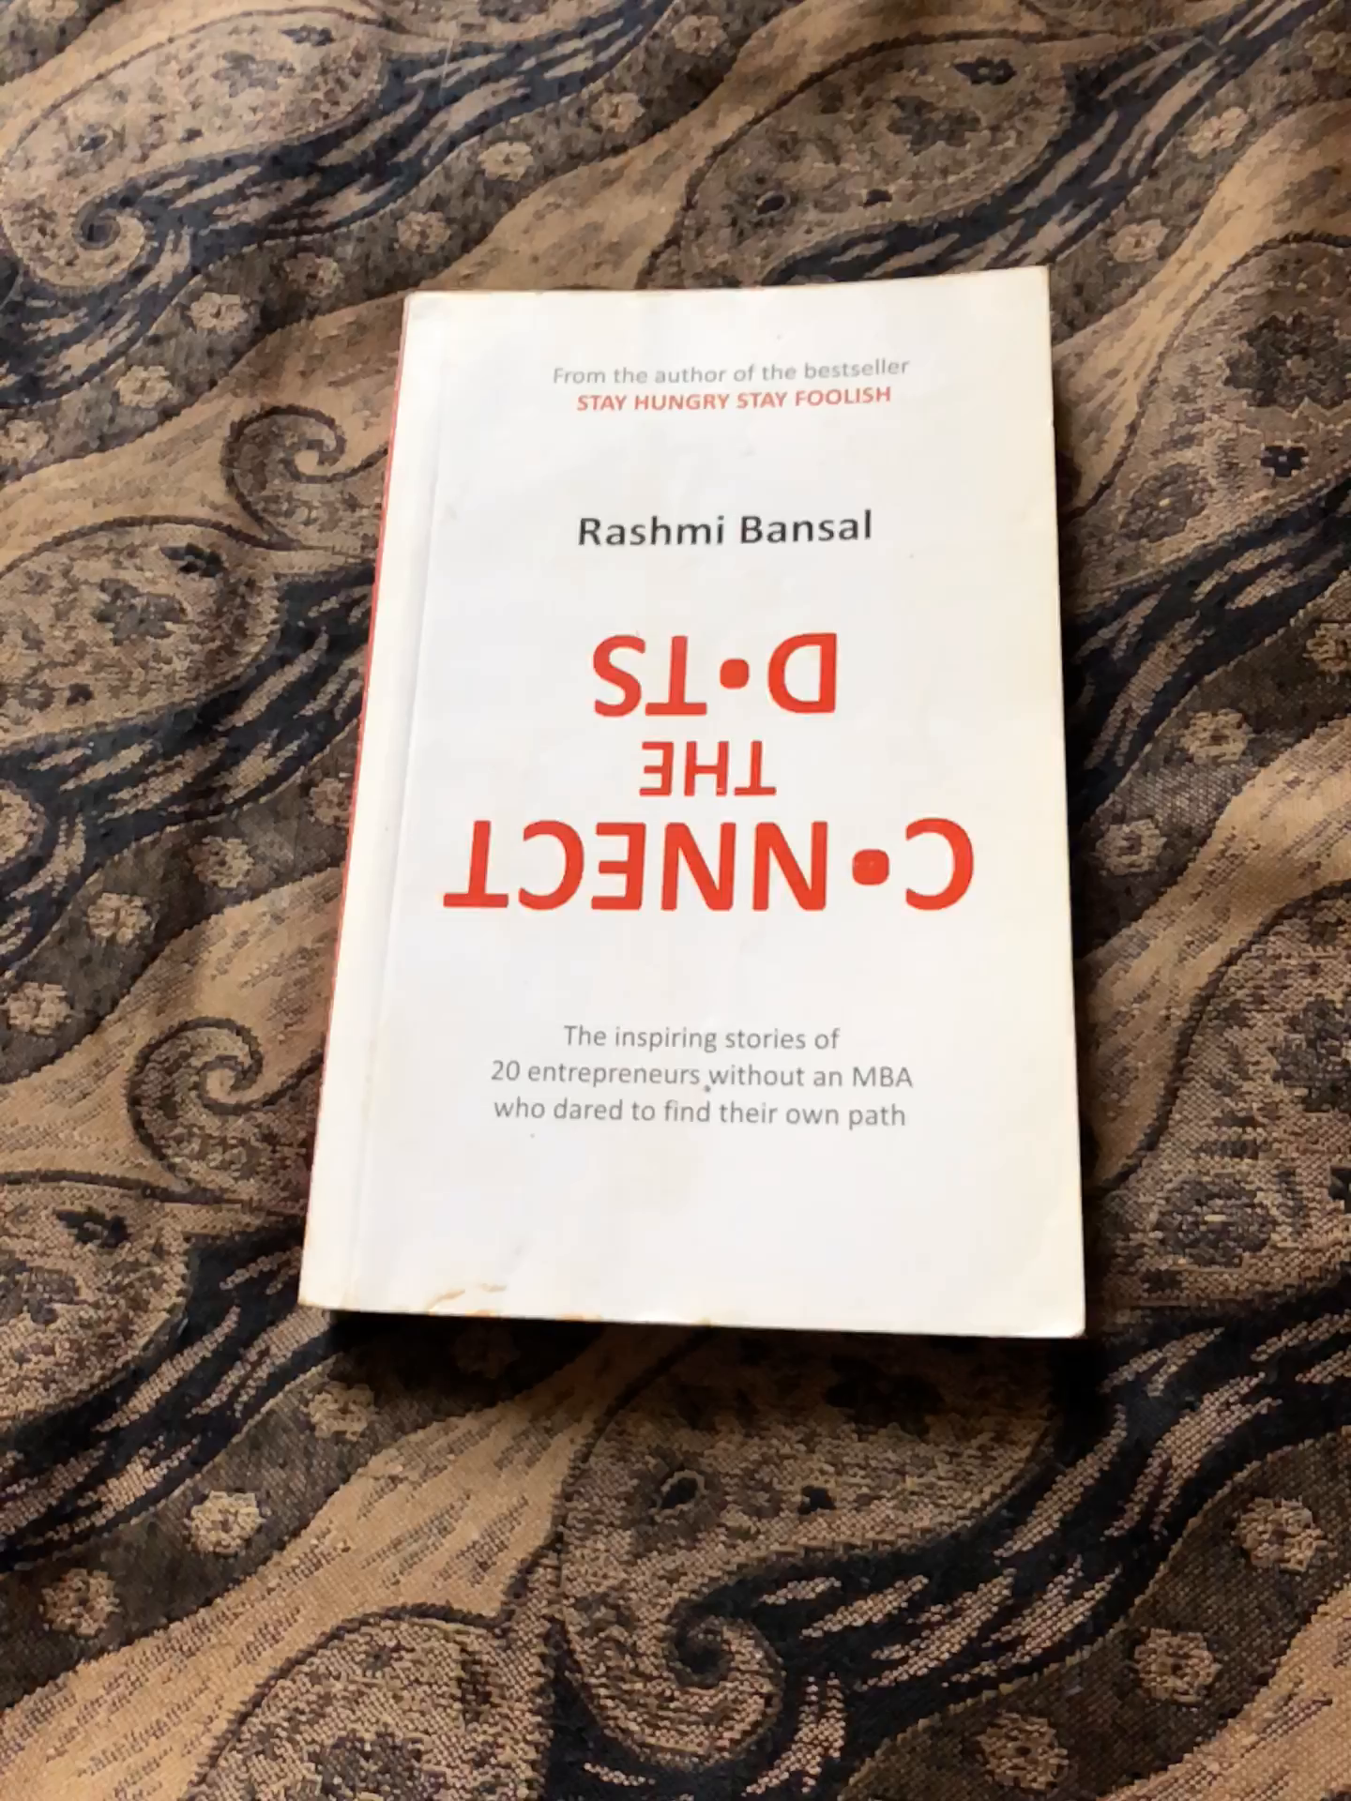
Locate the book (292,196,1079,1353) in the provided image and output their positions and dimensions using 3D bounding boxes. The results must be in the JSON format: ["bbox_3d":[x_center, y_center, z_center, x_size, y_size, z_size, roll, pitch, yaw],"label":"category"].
[{"bbox_3d":[0.006,-0.029,0.298,0.130,0.040,0.220,-1,72,10],"label":"book"}]
